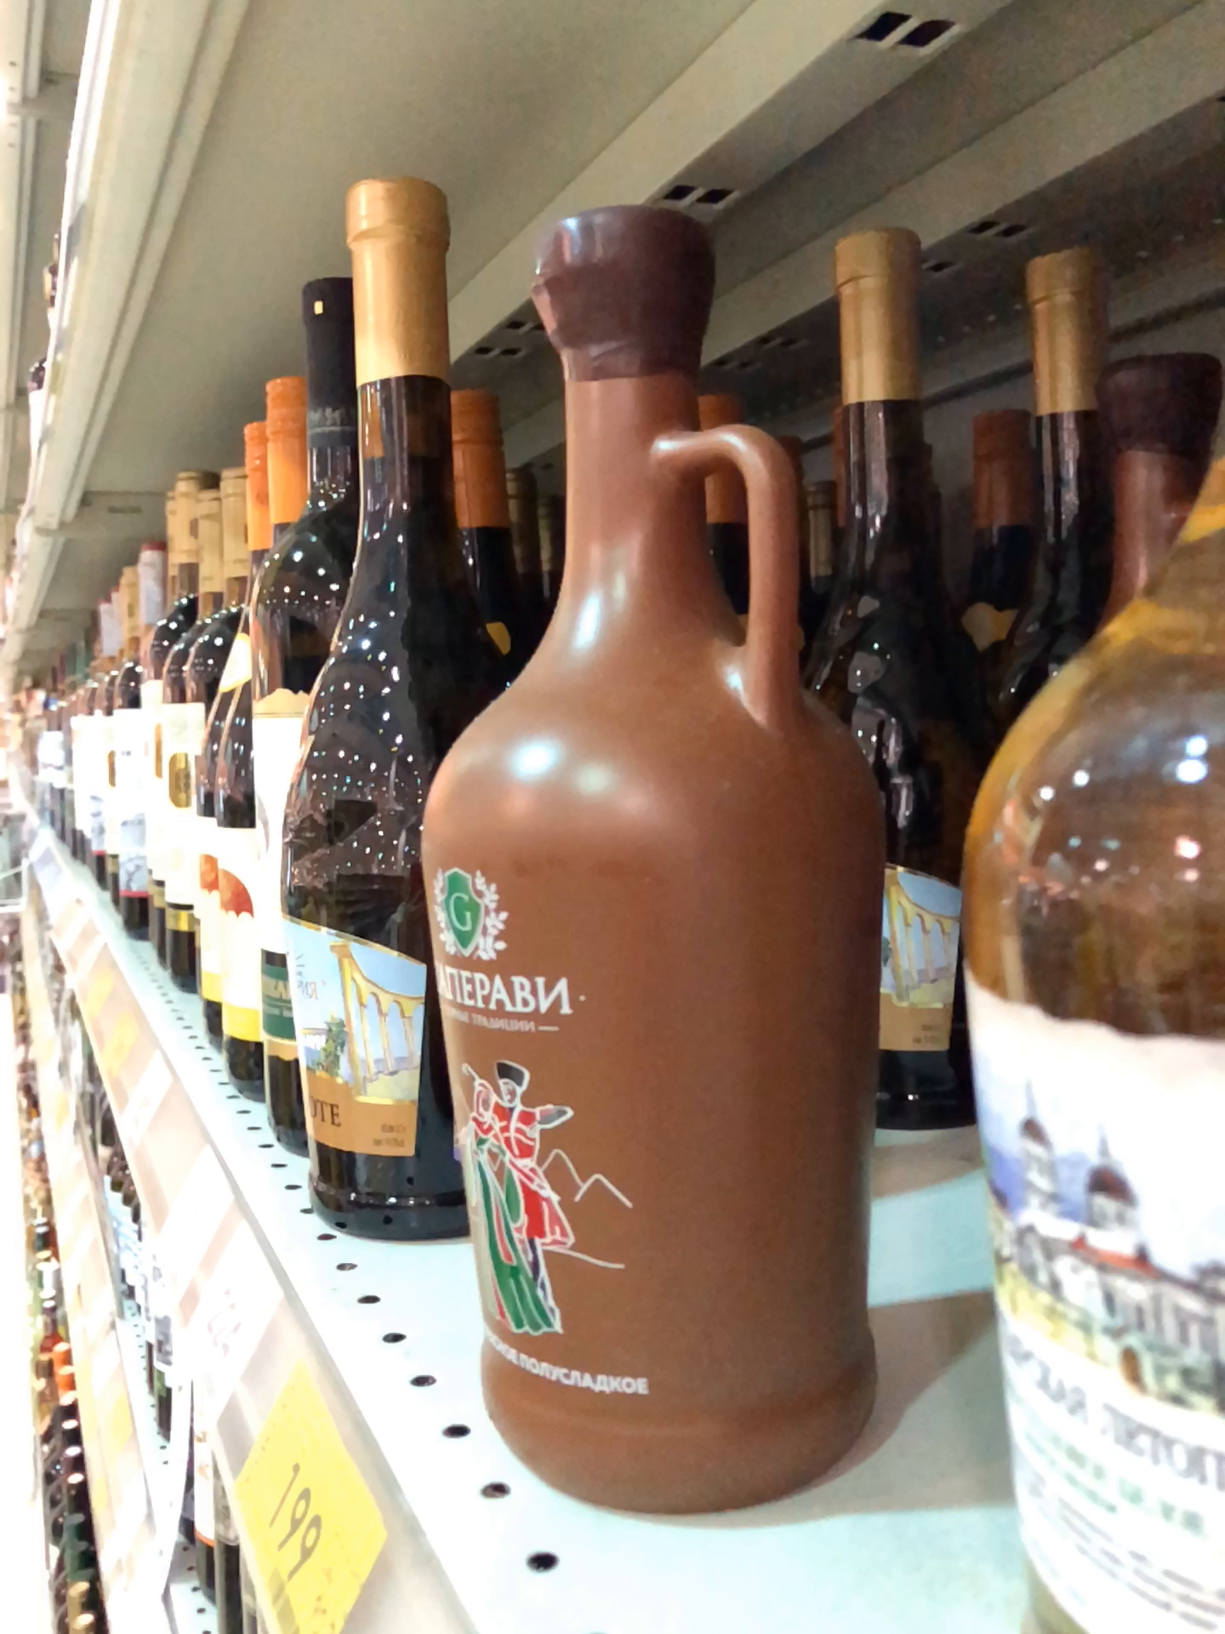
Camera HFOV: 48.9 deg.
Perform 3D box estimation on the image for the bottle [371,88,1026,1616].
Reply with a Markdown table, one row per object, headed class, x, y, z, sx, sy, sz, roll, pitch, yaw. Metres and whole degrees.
| class | x | y | z | sx | sy | sz | roll | pitch | yaw |
| --- | --- | --- | --- | --- | --- | --- | --- | --- | --- |
| bottle | 0.018 | 0.005 | 0.282 | 0.090 | 0.250 | 0.090 | -3 | 3 | 0 |
